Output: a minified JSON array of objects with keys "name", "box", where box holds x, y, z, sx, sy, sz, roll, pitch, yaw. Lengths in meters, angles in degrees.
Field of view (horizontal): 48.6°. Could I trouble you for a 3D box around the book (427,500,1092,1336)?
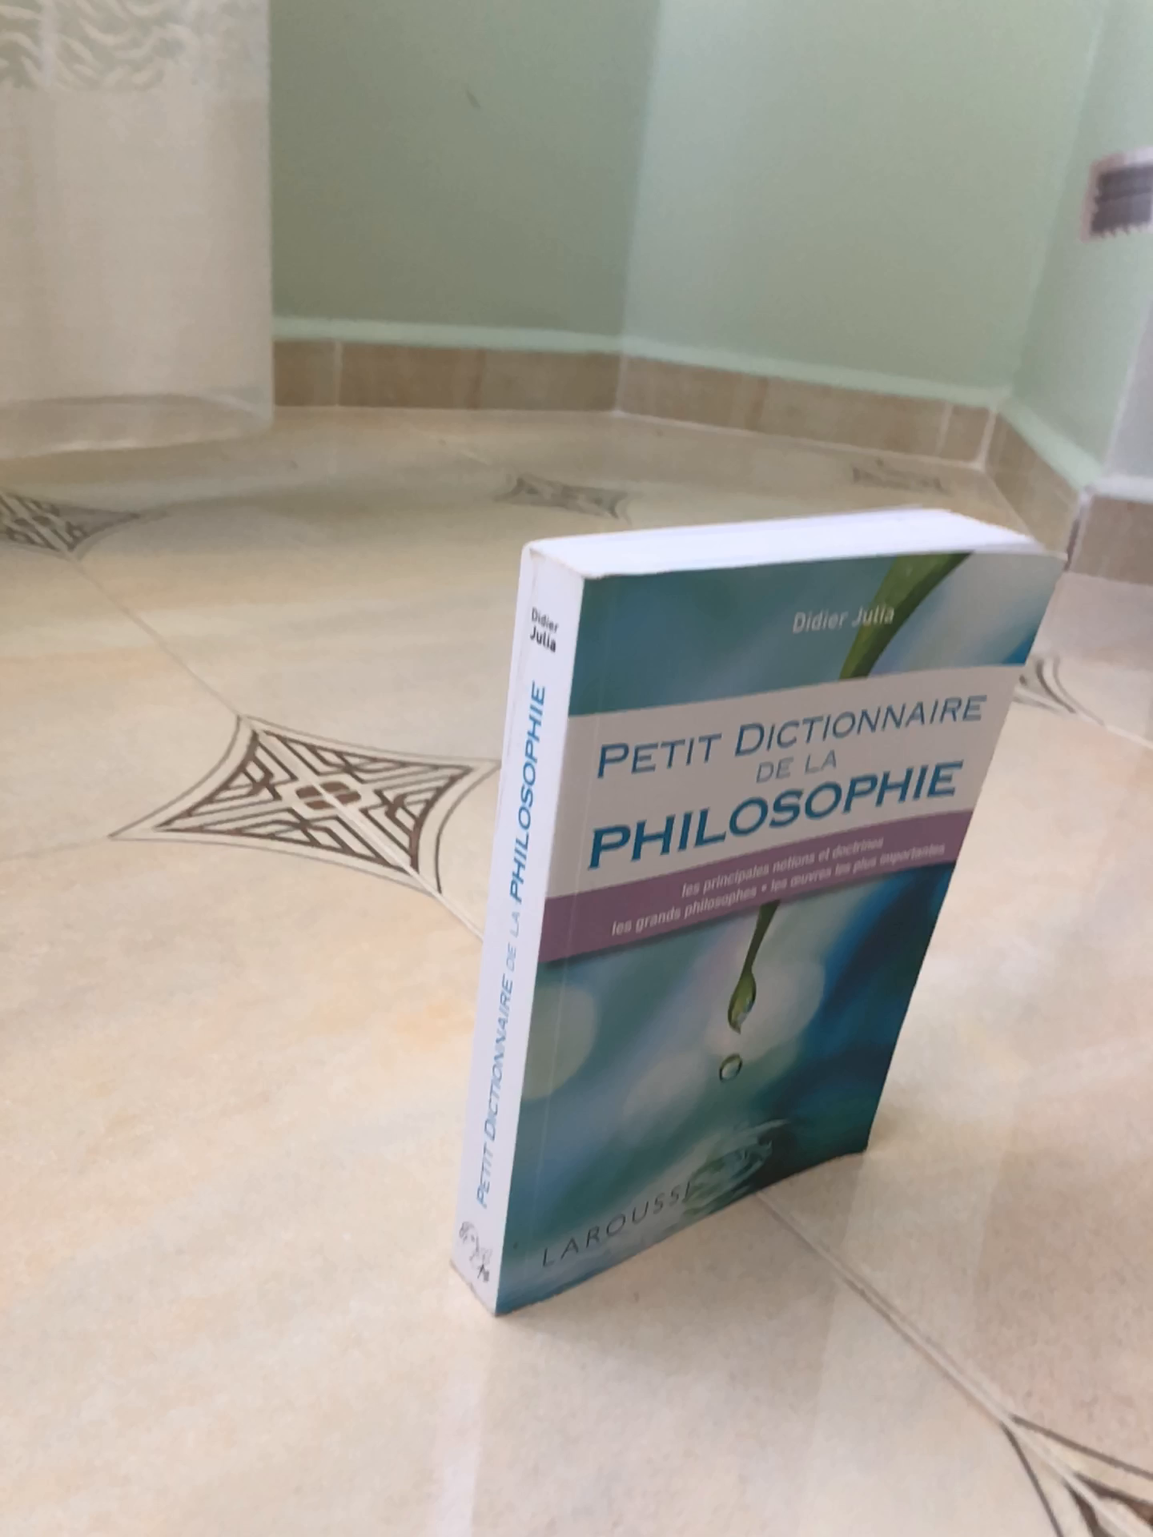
[{"name":"book","box":[0.041,0.033,0.312,0.140,0.185,0.034,-10,32,-34]}]
